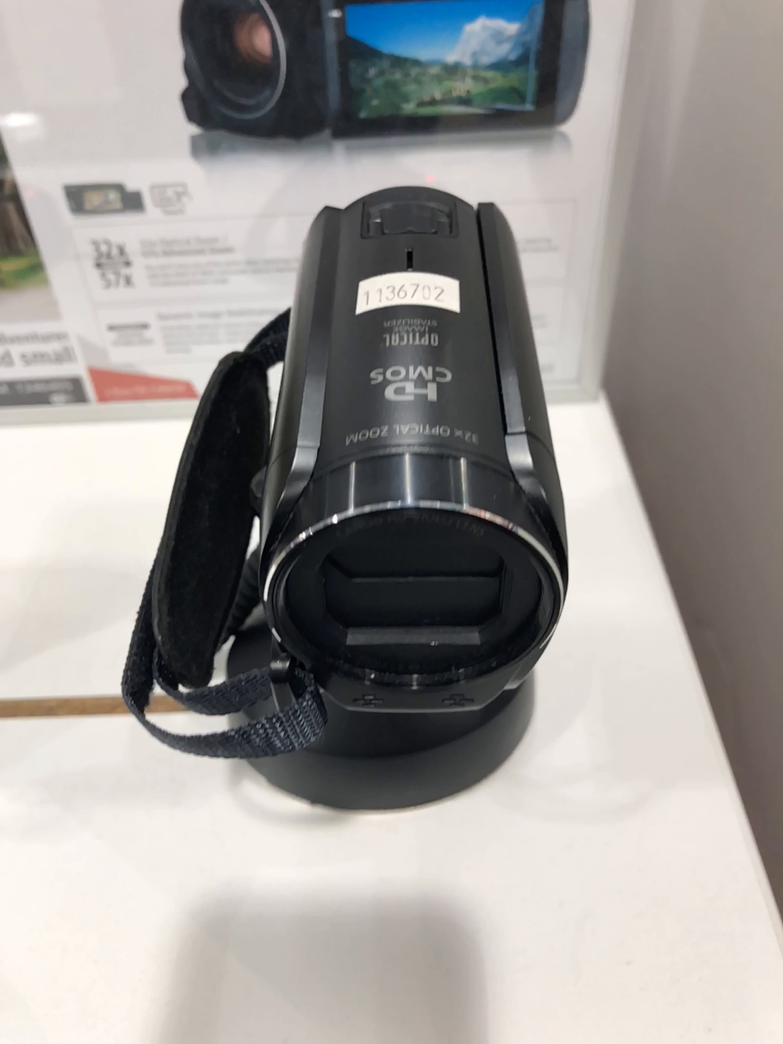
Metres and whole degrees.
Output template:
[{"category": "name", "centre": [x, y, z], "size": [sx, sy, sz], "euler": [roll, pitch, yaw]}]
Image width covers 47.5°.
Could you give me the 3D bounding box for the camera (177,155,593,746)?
[{"category": "camera", "centre": [0.000, -0.024, 0.196], "size": [0.060, 0.060, 0.130], "euler": [-1, 43, 1]}]
